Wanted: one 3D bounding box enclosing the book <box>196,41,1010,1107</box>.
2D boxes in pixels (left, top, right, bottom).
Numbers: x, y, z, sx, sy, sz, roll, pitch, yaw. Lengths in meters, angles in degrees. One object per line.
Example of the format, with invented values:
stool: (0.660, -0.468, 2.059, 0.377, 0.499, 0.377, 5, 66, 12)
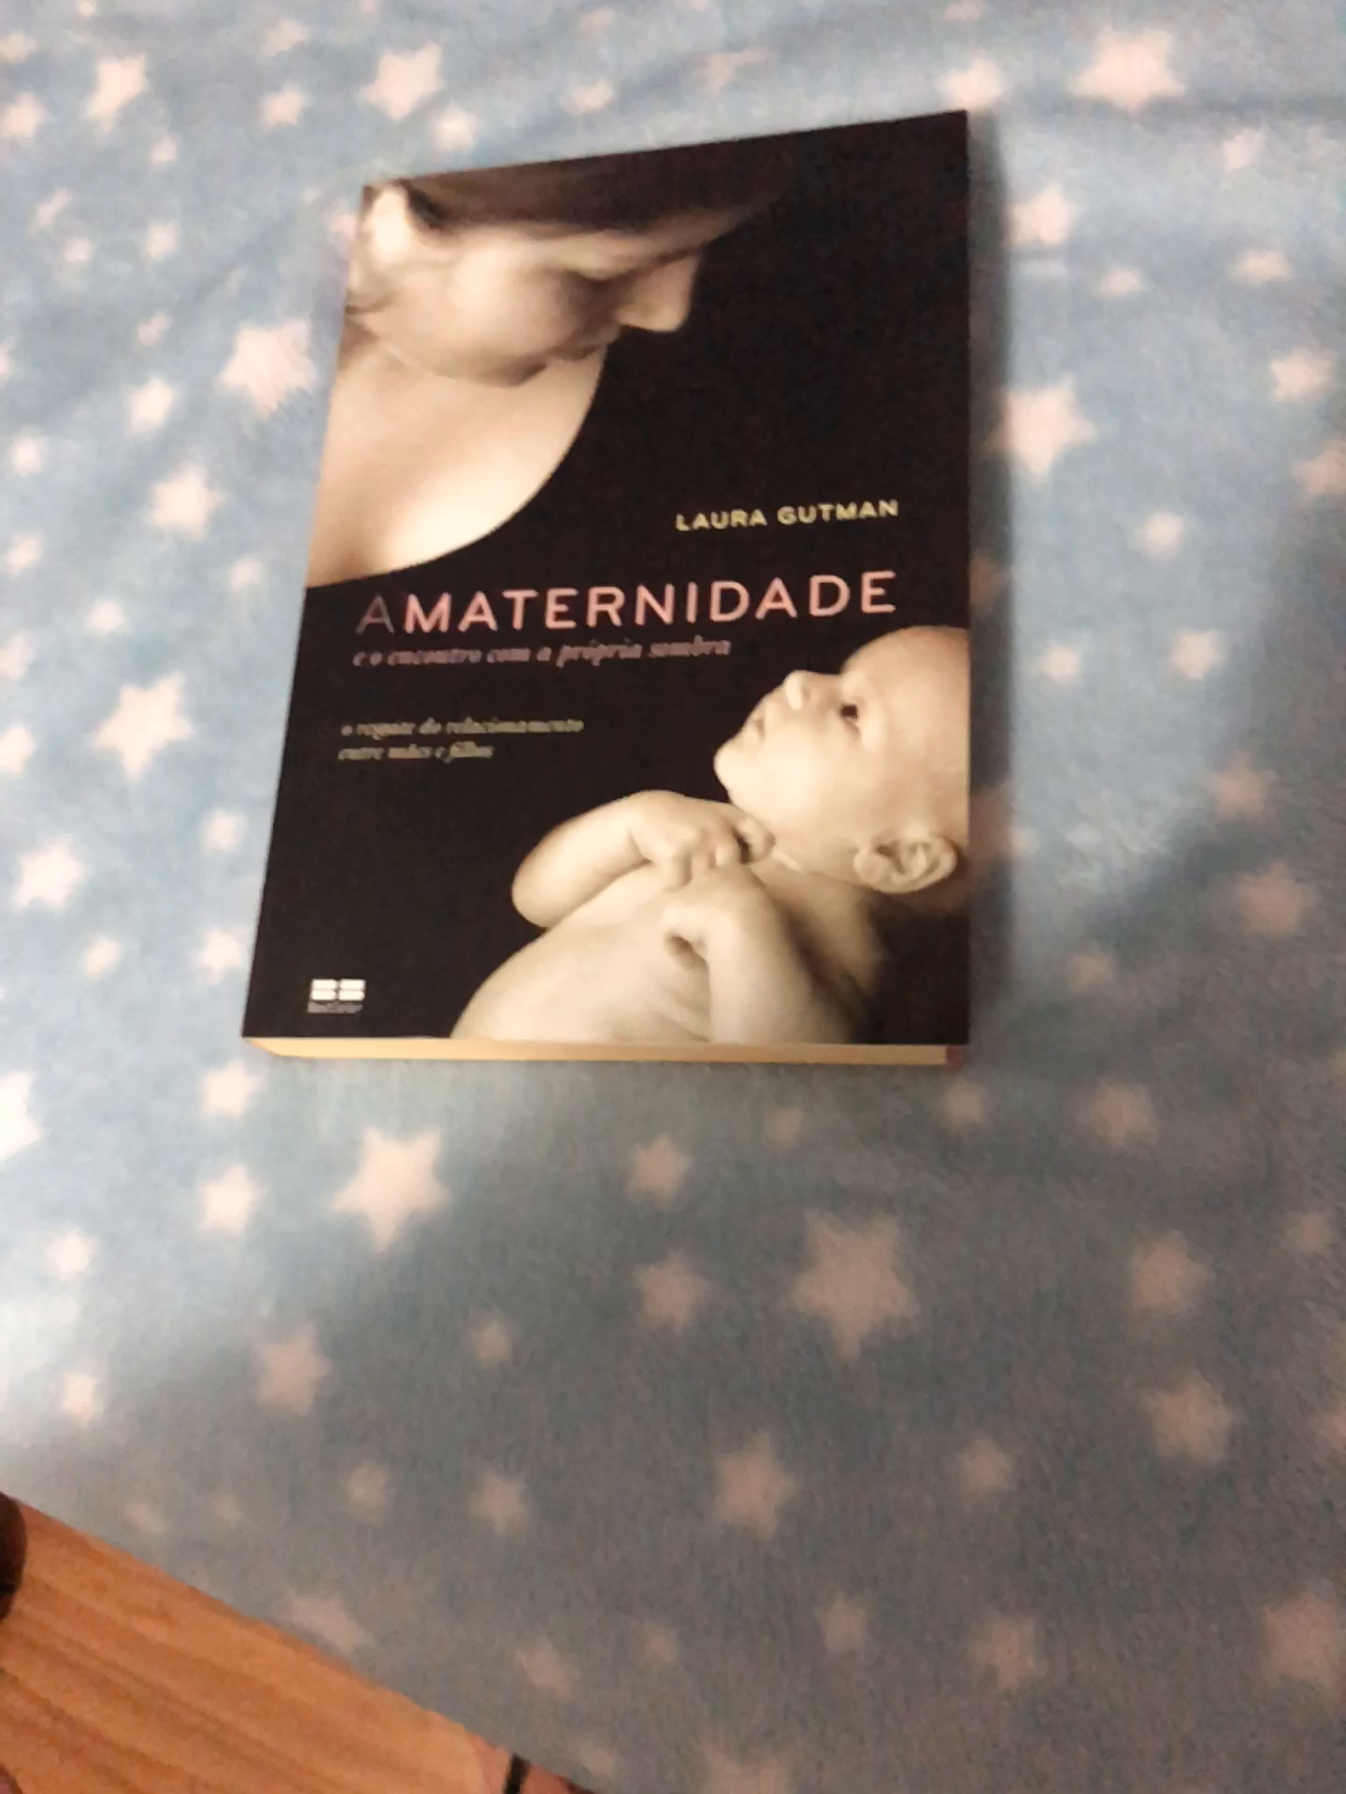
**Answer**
book: (-0.007, -0.077, 0.336, 0.160, 0.030, 0.240, 0, 71, 12)
